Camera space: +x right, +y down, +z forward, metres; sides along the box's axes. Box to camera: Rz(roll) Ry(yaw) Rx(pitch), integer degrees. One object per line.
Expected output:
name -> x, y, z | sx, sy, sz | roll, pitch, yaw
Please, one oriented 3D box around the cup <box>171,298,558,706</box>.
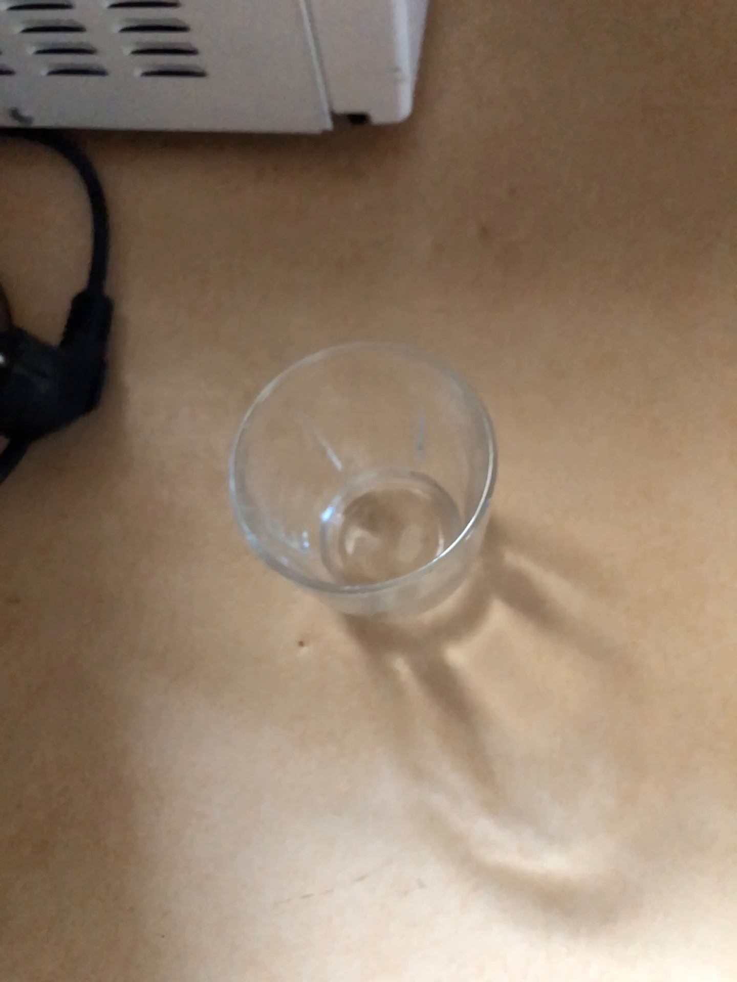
cup -> 0.002, 0.008, 0.244 | 0.070, 0.080, 0.070 | -3, 68, 7
